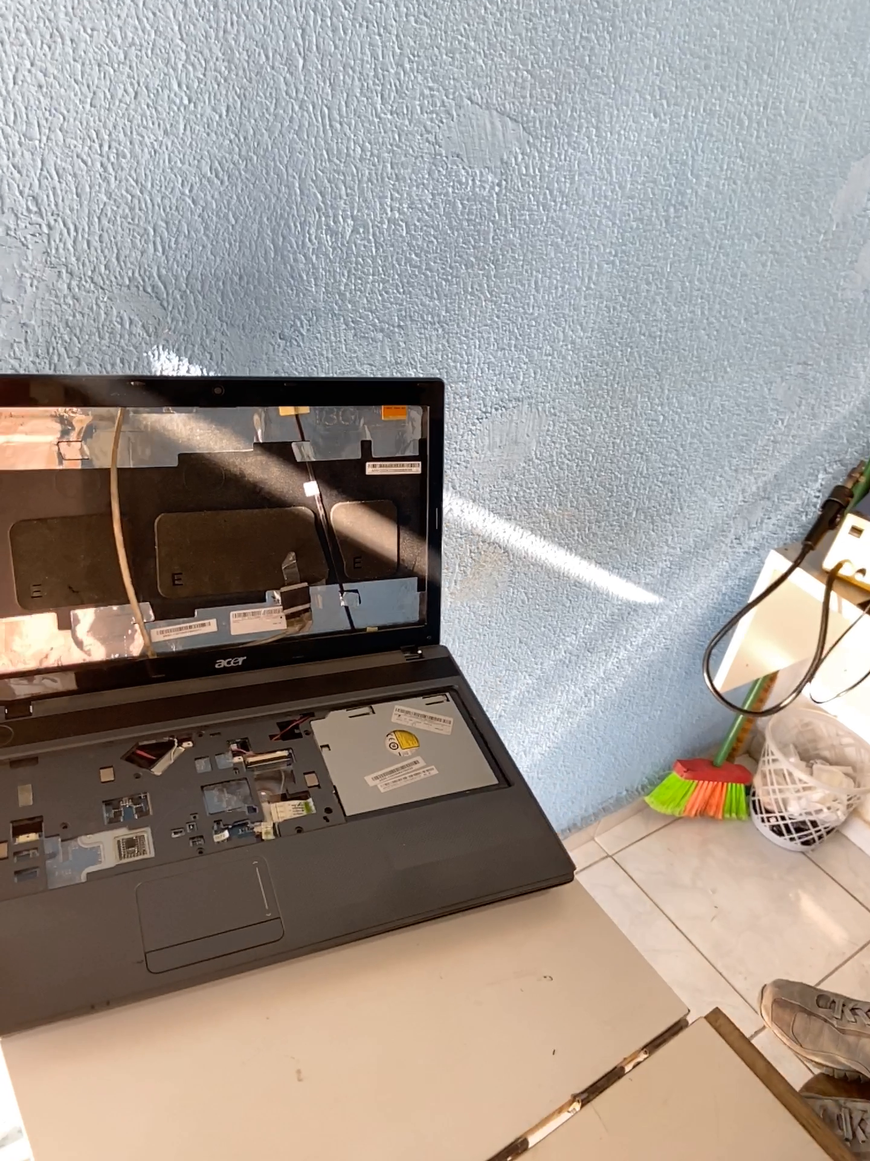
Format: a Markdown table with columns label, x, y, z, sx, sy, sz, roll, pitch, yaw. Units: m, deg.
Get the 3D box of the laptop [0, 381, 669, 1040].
| label | x | y | z | sx | sy | sz | roll | pitch | yaw |
| --- | --- | --- | --- | --- | --- | --- | --- | --- | --- |
| laptop | -0.122 | 0.036 | 0.613 | 0.379 | 0.210 | 0.351 | -5 | 37 | -23 |
